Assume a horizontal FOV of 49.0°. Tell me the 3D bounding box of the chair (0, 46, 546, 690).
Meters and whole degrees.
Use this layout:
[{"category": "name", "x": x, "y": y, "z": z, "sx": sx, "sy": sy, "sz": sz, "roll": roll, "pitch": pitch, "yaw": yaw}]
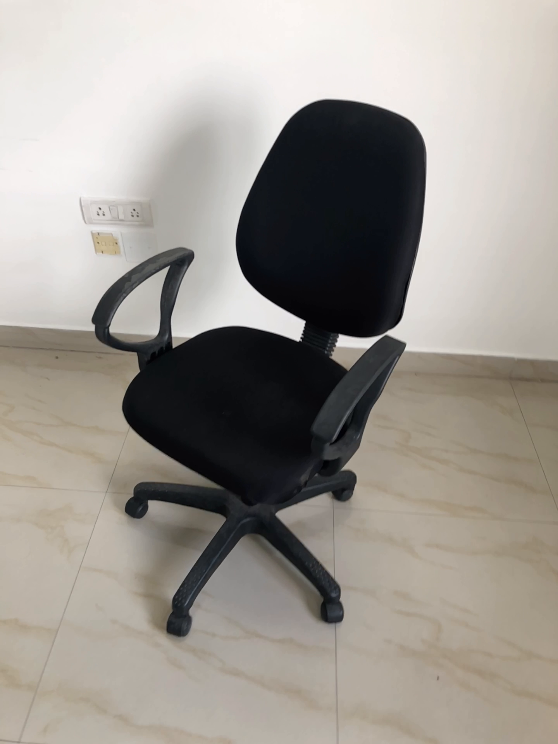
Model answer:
[{"category": "chair", "x": -0.020, "y": -0.047, "z": 1.212, "sx": 0.681, "sy": 0.884, "sz": 0.674, "roll": 21, "pitch": 42, "yaw": 21}]
